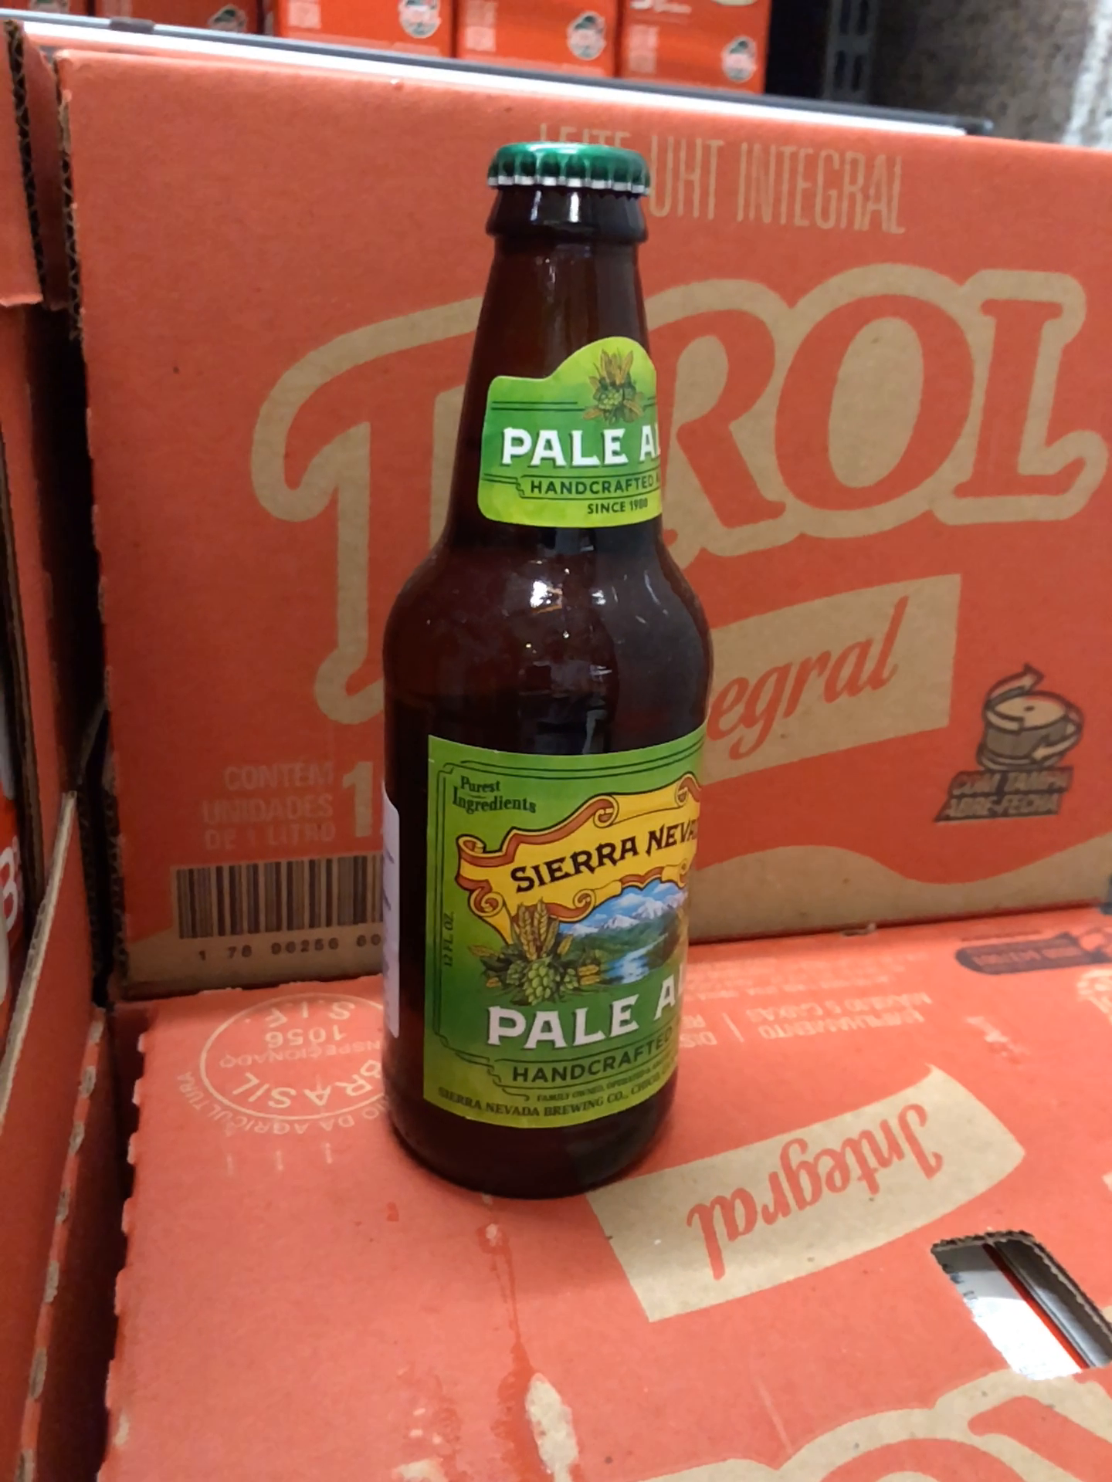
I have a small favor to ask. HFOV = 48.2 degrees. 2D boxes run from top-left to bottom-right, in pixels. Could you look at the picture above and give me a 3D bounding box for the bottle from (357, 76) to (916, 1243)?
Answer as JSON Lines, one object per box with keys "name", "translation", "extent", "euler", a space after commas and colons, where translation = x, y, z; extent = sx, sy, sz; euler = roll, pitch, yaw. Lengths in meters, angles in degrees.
{"name": "bottle", "translation": [0.007, -0.013, 0.238], "extent": [0.070, 0.189, 0.060], "euler": [-7, 20, -30]}
